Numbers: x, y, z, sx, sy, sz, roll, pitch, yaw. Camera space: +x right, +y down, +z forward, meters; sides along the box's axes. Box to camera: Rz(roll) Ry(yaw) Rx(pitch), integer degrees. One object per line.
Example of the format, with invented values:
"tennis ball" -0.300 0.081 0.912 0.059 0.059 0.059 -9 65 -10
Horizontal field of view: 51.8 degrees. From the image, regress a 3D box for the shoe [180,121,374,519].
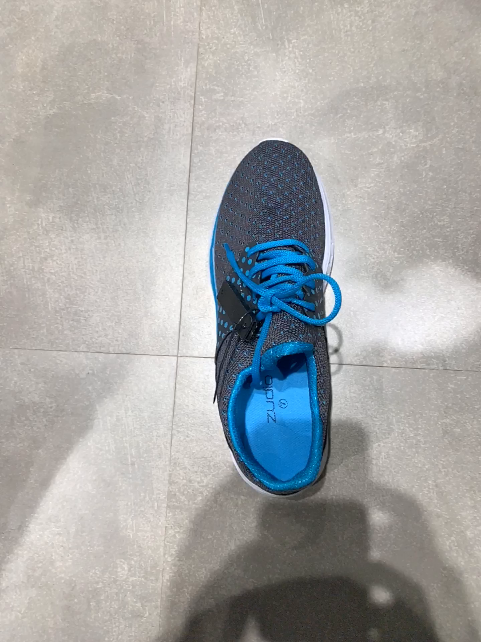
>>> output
"shoe" 0.021 0.002 0.335 0.102 0.102 0.227 -3 82 5
